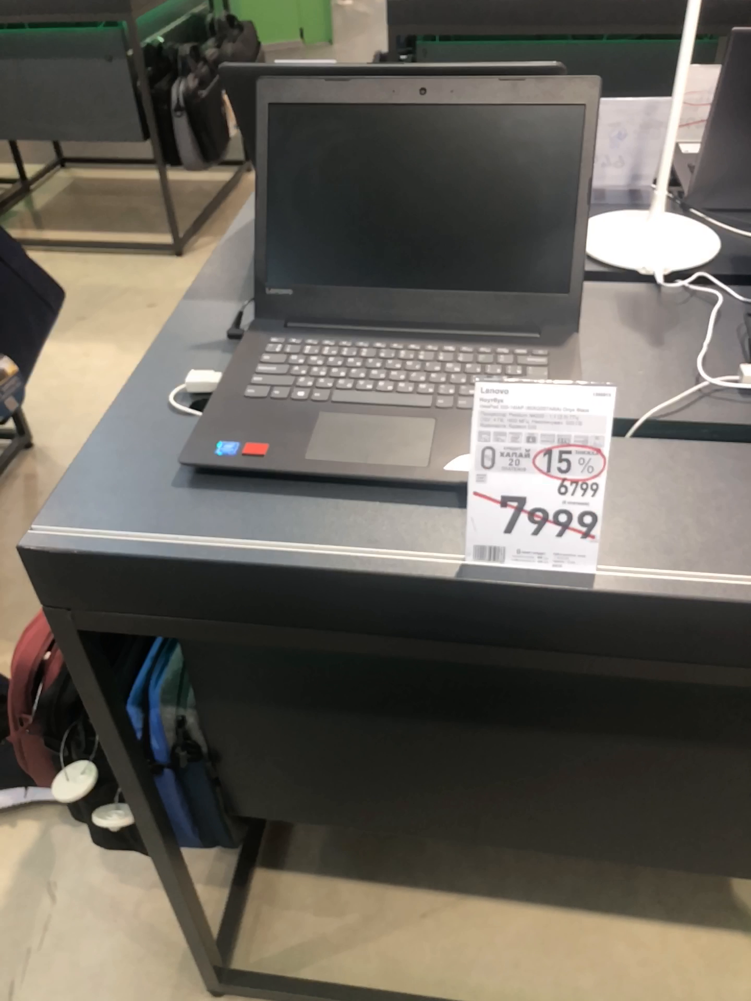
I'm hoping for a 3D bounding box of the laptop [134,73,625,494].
[{"bbox_3d":[0.027,-0.218,0.750,0.330,0.205,0.363,4,42,8],"label":"laptop"}]
